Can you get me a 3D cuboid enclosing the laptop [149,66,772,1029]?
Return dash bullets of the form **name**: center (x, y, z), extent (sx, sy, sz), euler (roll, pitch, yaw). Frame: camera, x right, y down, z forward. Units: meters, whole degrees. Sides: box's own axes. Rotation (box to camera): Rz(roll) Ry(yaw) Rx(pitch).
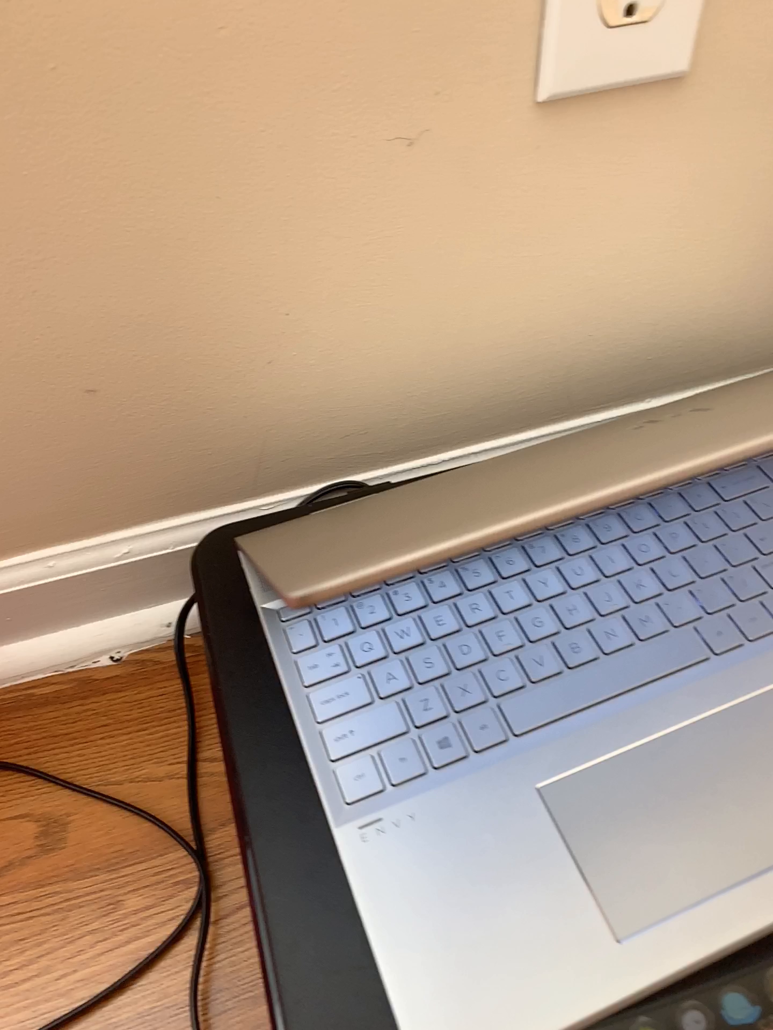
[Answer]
- **laptop**: center (0.128, -0.007, 0.298), extent (0.350, 0.169, 0.237), euler (-18, 50, -13)
